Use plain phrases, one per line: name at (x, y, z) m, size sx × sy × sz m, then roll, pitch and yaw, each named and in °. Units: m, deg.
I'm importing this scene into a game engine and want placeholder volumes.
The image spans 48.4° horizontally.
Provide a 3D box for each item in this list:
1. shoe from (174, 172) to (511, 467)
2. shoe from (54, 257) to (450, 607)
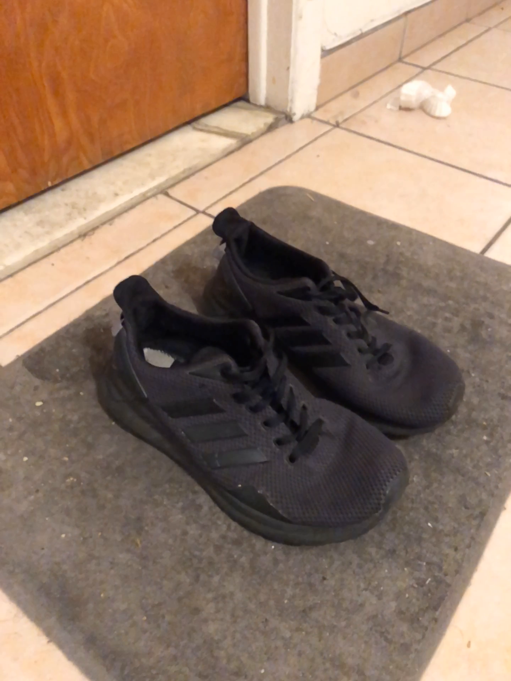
shoe at (0.063, -0.031, 0.508) m, size 0.261 × 0.119 × 0.110 m, roll 32°, pitch 53°, yaw 27°
shoe at (-0.011, 0.056, 0.436) m, size 0.261 × 0.119 × 0.111 m, roll 26°, pitch 46°, yaw 23°
